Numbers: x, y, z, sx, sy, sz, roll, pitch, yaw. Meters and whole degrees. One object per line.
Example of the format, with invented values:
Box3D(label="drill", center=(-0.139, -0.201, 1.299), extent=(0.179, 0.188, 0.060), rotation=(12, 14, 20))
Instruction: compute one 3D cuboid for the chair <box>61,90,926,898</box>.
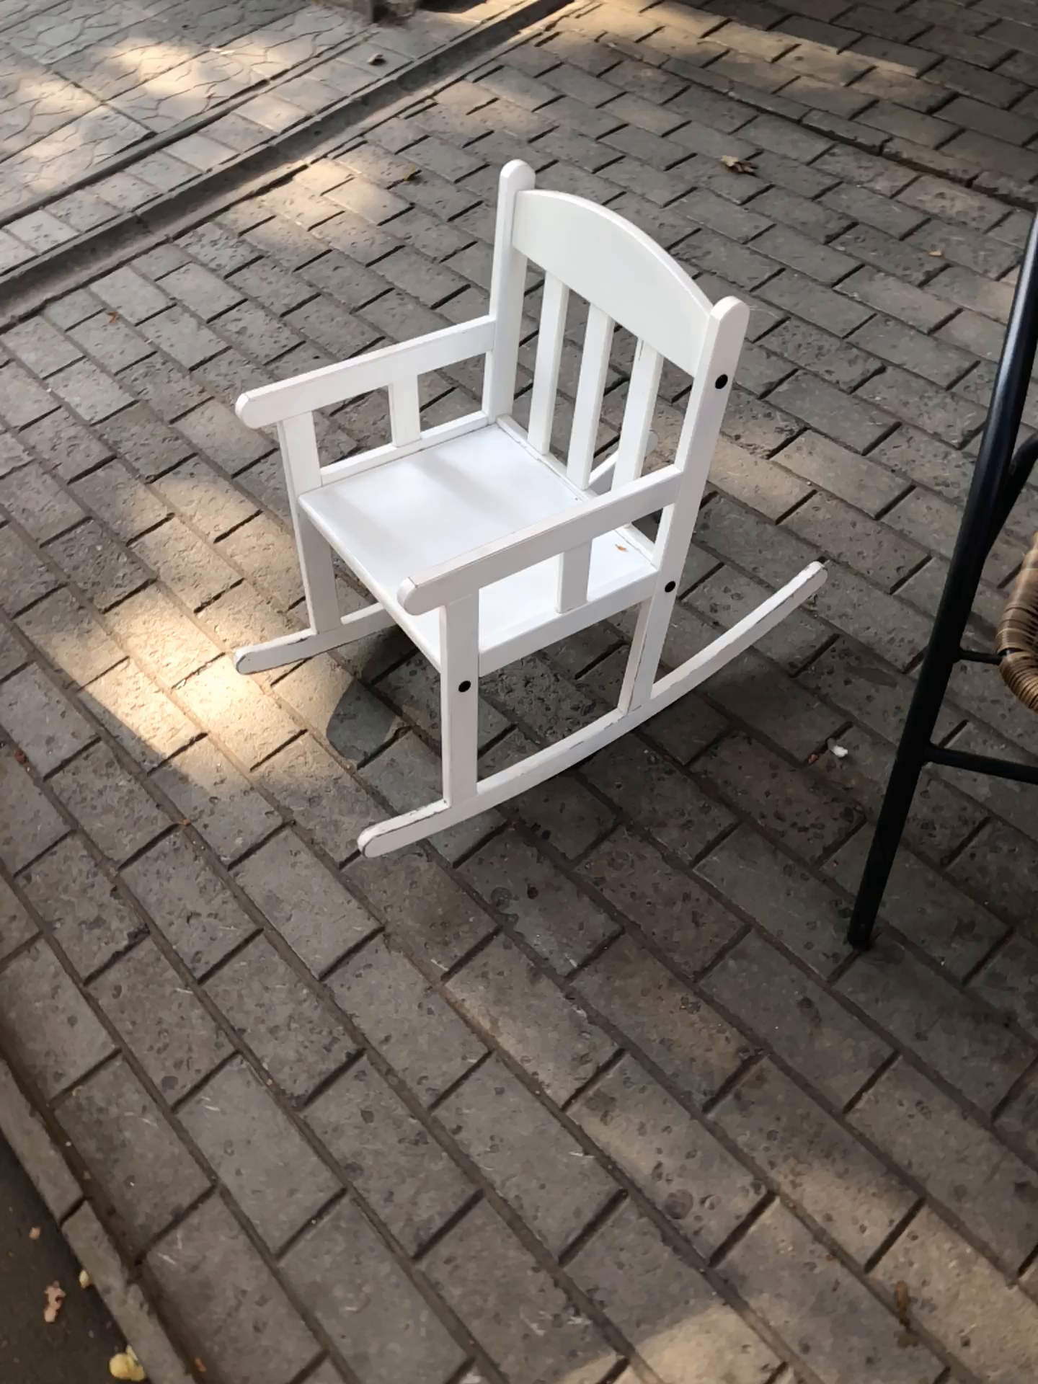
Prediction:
Box3D(label="chair", center=(-0.001, -0.226, 1.272), extent=(0.730, 0.518, 0.381), rotation=(-30, 54, -17))
